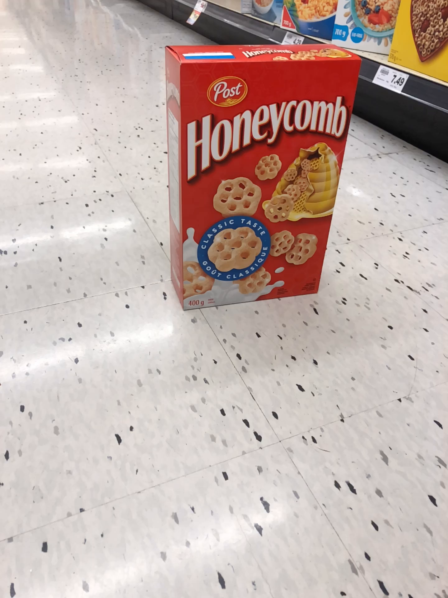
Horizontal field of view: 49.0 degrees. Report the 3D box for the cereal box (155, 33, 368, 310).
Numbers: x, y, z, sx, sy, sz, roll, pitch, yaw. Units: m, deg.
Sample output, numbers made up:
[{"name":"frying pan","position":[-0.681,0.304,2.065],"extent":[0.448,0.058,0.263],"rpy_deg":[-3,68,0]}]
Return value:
[{"name":"cereal box","position":[0.029,-0.141,0.584],"extent":[0.200,0.298,0.080],"rpy_deg":[-7,38,-14]}]
